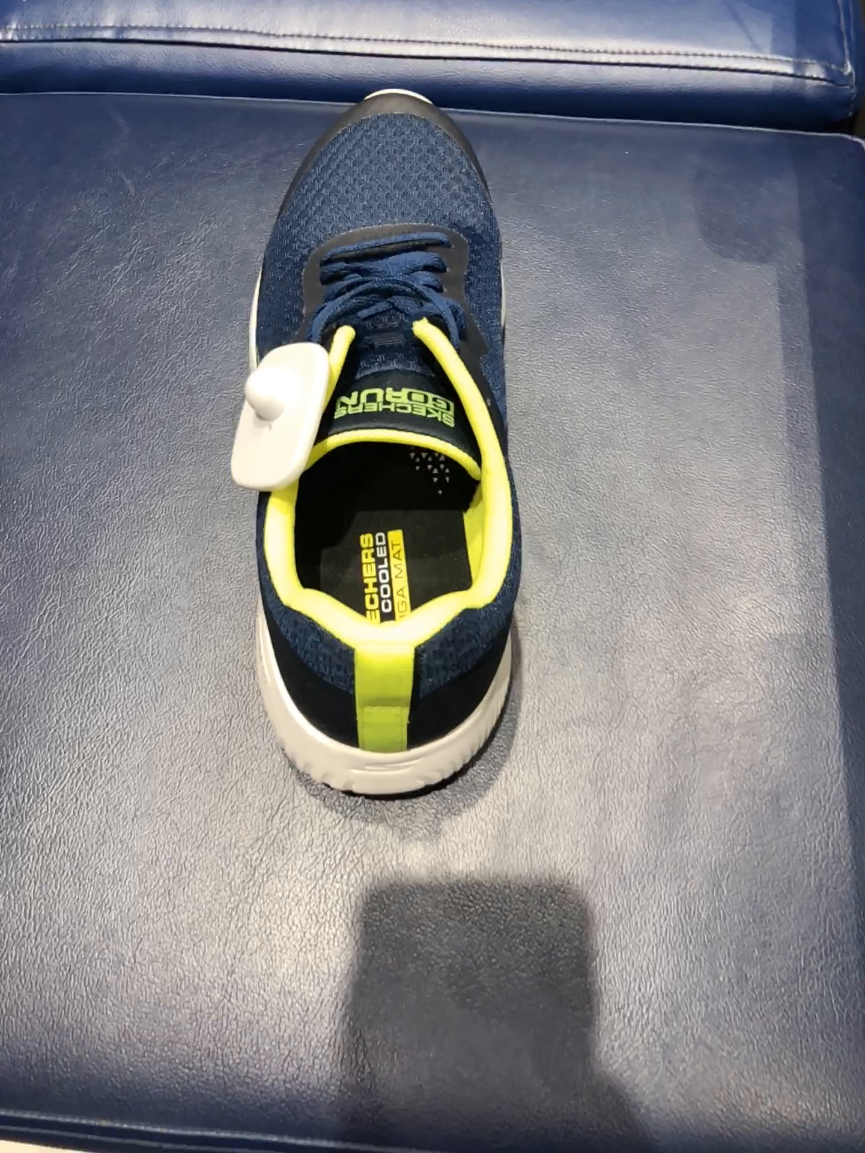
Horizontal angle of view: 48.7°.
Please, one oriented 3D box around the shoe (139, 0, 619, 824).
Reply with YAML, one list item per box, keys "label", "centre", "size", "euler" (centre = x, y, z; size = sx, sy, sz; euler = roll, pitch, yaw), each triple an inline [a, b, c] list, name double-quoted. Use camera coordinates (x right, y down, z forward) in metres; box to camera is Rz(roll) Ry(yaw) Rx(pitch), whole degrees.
- label: "shoe"
  centre: [-0.021, -0.056, 0.334]
  size: [0.113, 0.132, 0.255]
  euler: [-4, 68, -1]
